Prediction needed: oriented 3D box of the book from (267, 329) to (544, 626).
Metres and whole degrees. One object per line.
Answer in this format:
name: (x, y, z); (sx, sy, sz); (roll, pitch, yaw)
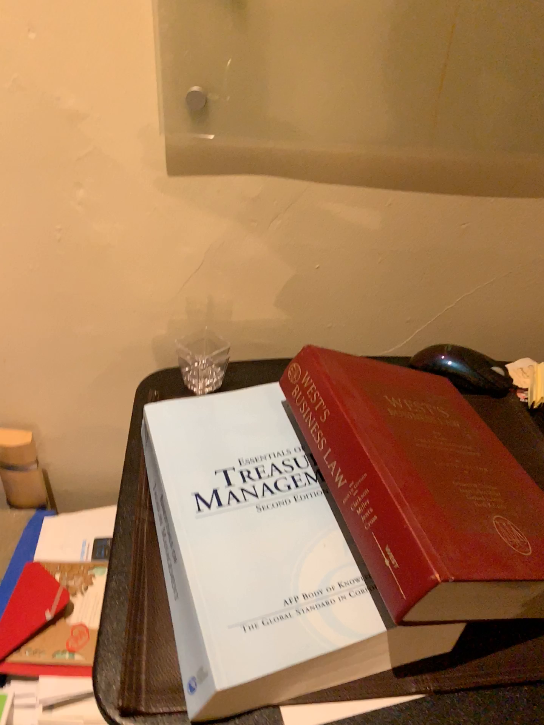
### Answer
book: (0.135, 0.090, 0.502); (0.210, 0.050, 0.272); (14, 31, -31)

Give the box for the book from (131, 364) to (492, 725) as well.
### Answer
book: (0.008, 0.125, 0.484); (0.220, 0.070, 0.272); (-8, 39, -16)
